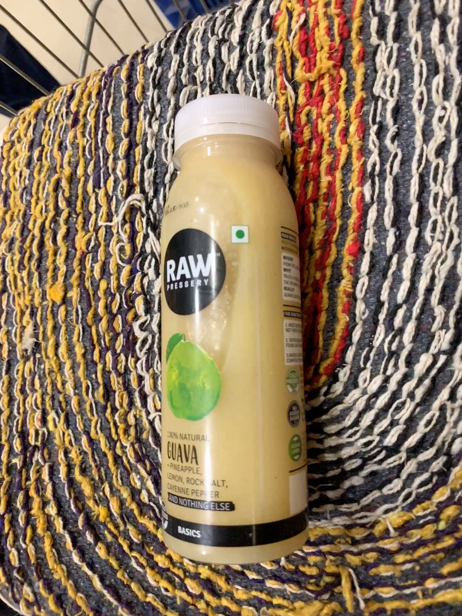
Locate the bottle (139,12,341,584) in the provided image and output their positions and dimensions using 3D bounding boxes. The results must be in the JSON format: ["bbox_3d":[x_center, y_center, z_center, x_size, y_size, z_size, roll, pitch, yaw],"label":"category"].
[{"bbox_3d":[0.003,-0.005,0.162,0.050,0.040,0.160,-6,80,32],"label":"bottle"}]
